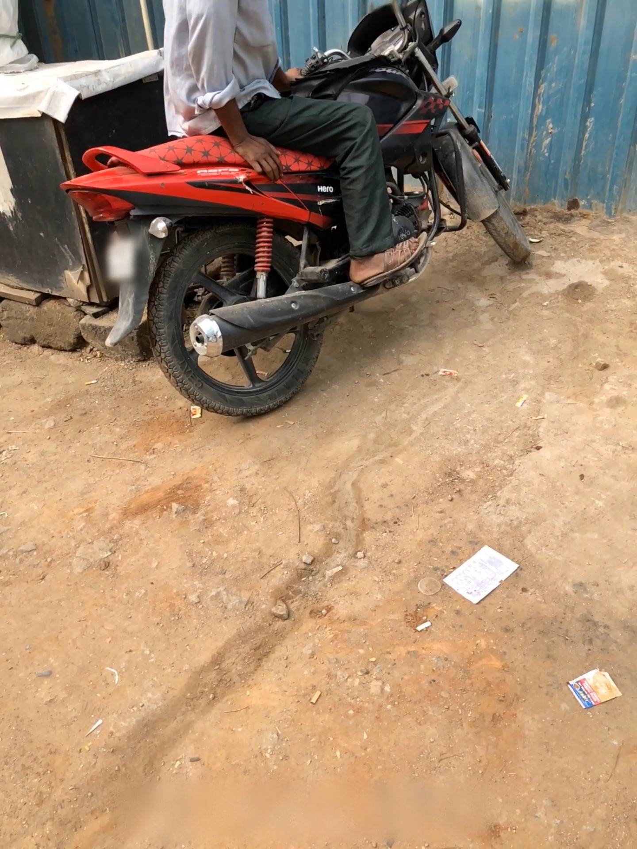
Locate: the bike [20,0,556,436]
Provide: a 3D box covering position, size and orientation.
[{"bbox_3d":[0.003,-1.040,2.395,0.735,1.129,1.638,26,49,36],"label":"bike"}]
